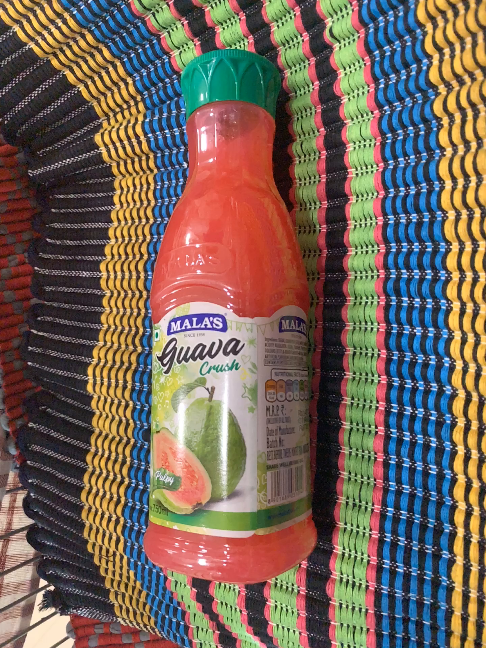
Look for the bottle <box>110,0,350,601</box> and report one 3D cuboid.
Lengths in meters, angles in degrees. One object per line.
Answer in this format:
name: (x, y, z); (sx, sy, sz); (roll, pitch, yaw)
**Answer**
bottle: (-0.002, -0.020, 0.256); (0.080, 0.080, 0.260); (-6, 78, 32)
